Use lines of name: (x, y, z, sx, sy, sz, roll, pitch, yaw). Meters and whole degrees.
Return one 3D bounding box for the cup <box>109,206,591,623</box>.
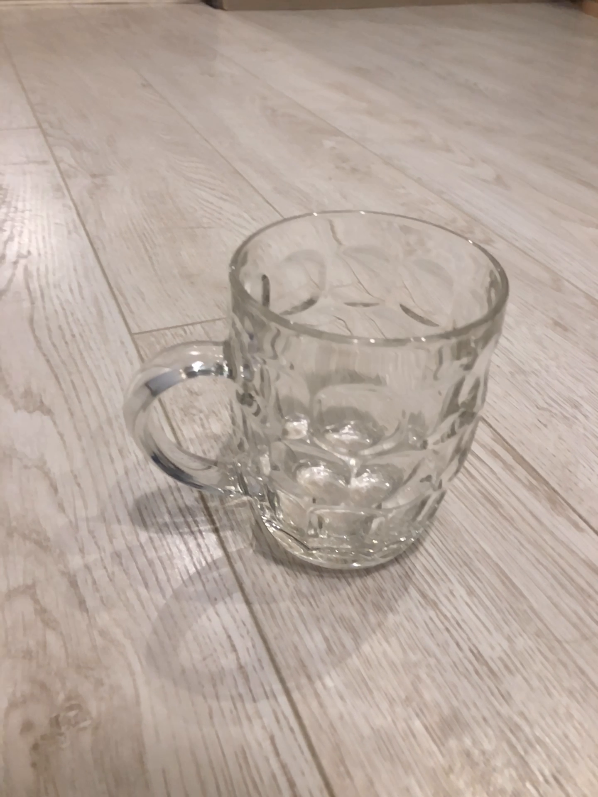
cup: (0.006, -0.001, 0.255, 0.140, 0.109, 0.101, -5, 37, -12)
